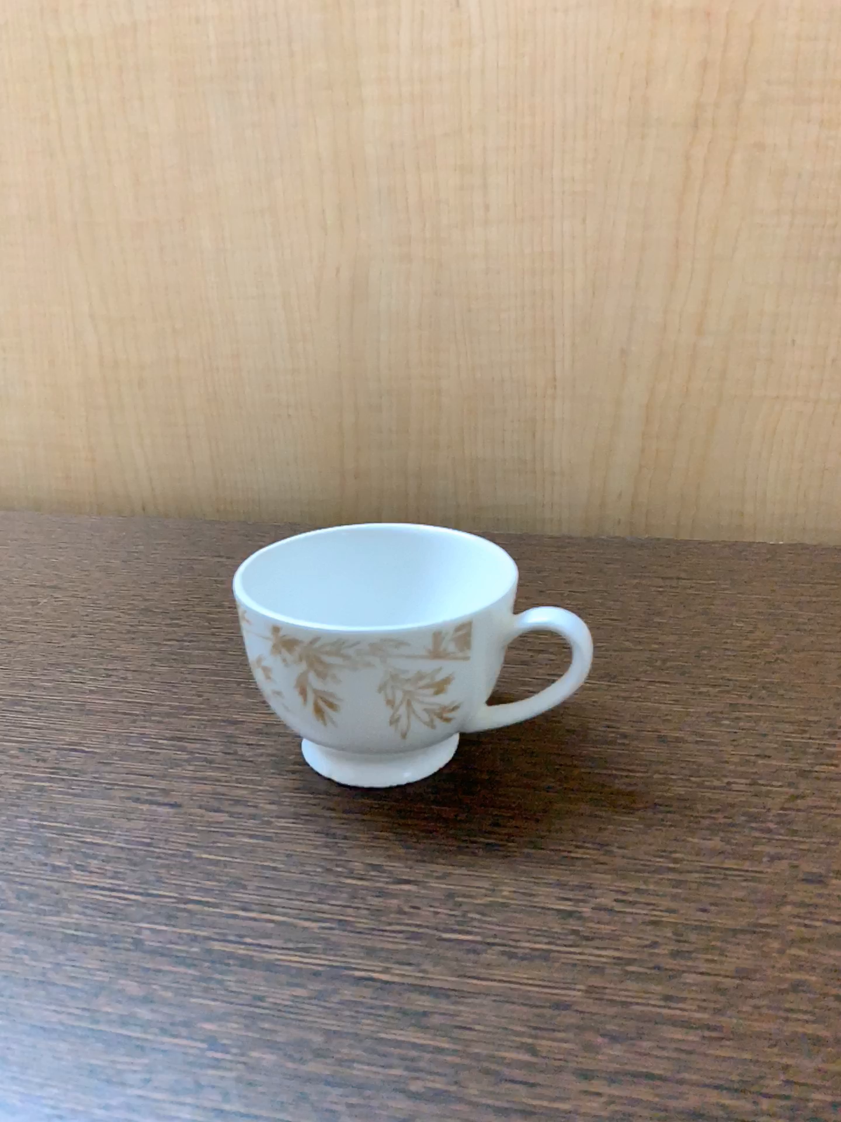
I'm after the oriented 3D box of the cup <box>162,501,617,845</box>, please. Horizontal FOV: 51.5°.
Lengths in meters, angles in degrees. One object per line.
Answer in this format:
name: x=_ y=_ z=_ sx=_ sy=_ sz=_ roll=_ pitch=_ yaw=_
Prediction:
cup: x=-0.002 y=0.022 z=0.238 sx=0.100 sy=0.050 sz=0.080 roll=5 pitch=21 yaw=15
